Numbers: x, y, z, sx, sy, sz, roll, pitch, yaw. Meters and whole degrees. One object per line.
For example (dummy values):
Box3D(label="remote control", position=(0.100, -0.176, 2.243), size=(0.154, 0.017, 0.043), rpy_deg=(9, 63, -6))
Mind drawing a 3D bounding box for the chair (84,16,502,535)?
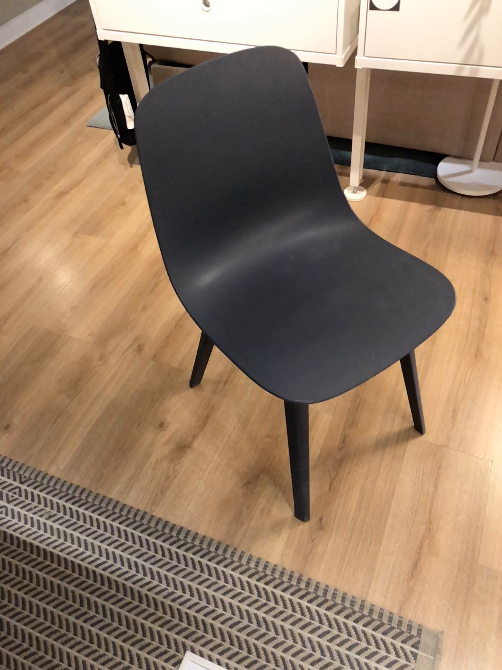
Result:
Box3D(label="chair", position=(0.105, -0.103, 1.107), size=(0.470, 0.728, 0.561), rpy_deg=(-30, 53, -19))
